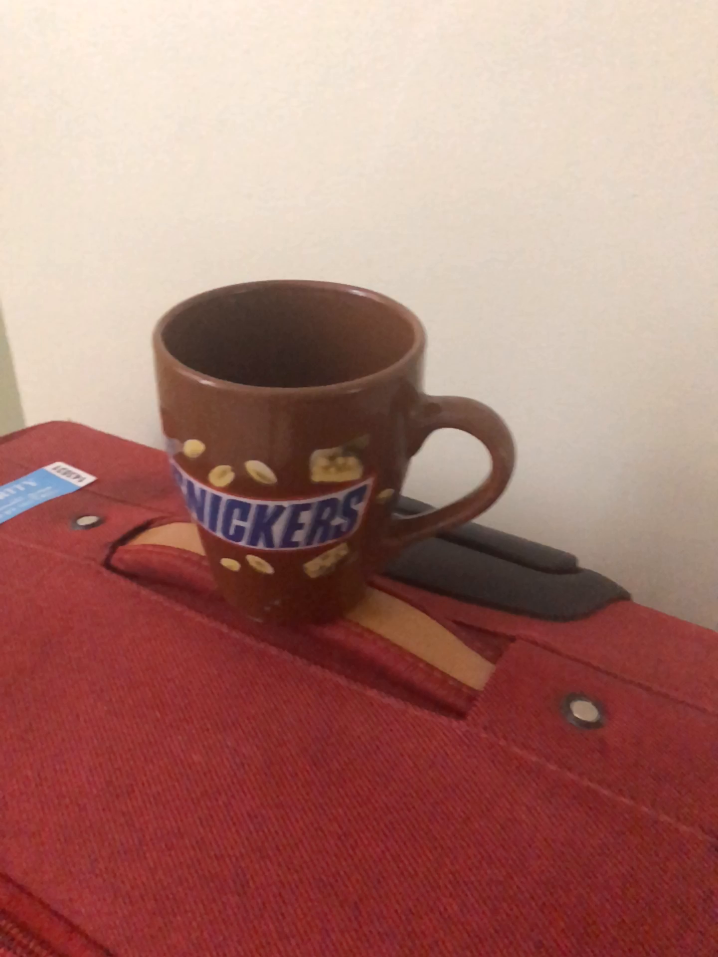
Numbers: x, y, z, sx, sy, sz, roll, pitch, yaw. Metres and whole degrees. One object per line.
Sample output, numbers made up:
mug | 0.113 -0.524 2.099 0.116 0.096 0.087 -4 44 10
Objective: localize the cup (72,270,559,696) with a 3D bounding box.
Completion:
cup | -0.008 -0.008 0.253 0.115 0.080 0.088 13 35 22
